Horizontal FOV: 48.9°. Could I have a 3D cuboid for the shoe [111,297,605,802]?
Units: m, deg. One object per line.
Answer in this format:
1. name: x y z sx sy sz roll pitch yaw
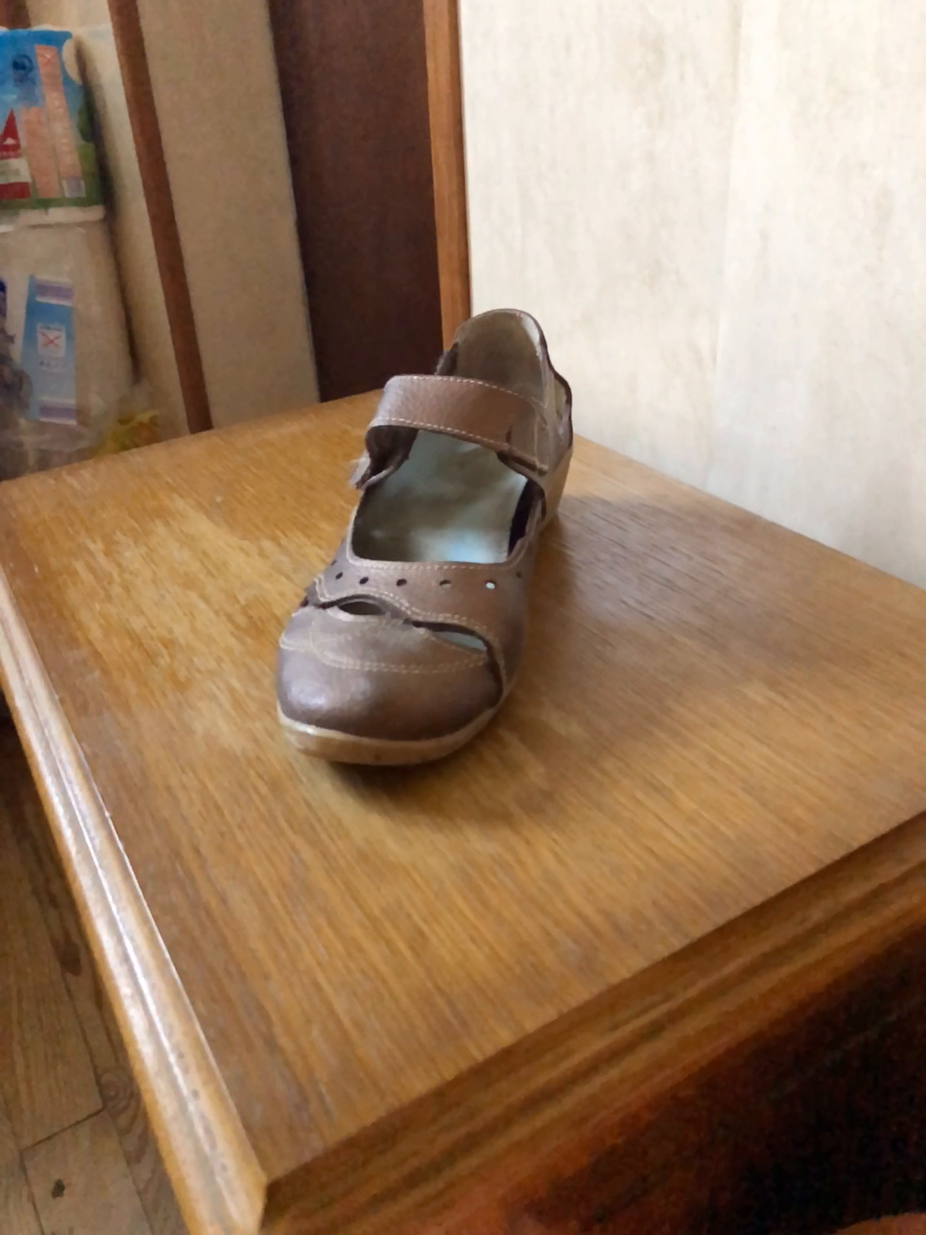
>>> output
1. shoe: -0.015 -0.052 0.410 0.100 0.089 0.262 6 31 16
